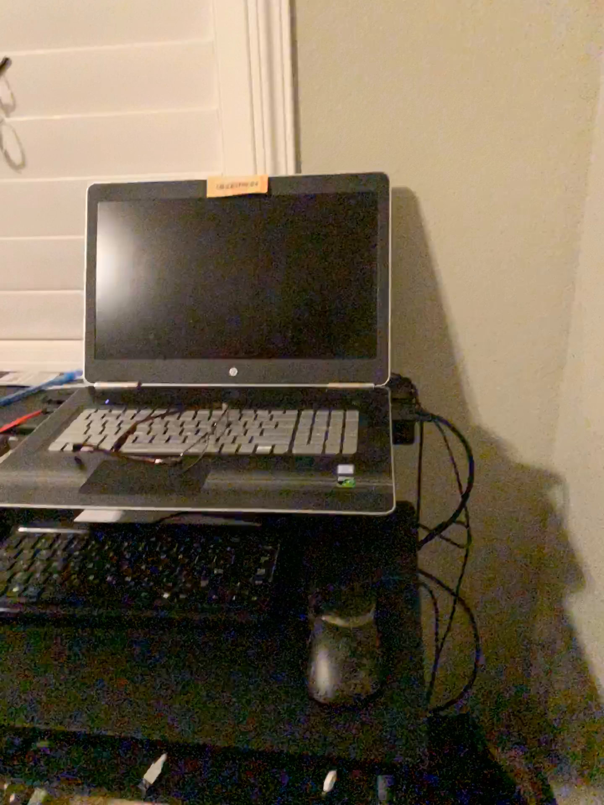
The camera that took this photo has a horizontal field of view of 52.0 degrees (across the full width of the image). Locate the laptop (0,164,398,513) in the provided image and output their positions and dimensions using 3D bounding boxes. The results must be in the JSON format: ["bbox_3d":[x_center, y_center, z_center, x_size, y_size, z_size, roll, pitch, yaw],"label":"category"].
[{"bbox_3d":[-0.111,-0.114,0.744,0.433,0.263,0.421,0,24,7],"label":"laptop"}]
